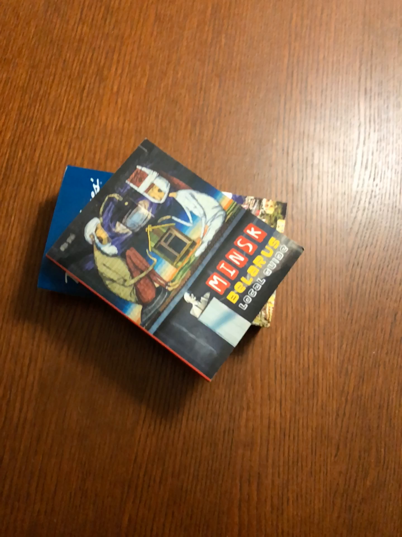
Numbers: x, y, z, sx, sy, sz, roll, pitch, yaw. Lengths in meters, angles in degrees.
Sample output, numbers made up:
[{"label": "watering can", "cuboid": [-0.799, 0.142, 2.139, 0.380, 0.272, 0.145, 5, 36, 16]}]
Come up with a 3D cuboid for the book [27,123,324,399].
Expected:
[{"label": "book", "cuboid": [-0.019, -0.012, 0.372, 0.190, 0.020, 0.150, 34, 77, 6]}]

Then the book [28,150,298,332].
[{"label": "book", "cuboid": [-0.030, -0.025, 0.415, 0.220, 0.040, 0.130, 9, 75, 0]}]
